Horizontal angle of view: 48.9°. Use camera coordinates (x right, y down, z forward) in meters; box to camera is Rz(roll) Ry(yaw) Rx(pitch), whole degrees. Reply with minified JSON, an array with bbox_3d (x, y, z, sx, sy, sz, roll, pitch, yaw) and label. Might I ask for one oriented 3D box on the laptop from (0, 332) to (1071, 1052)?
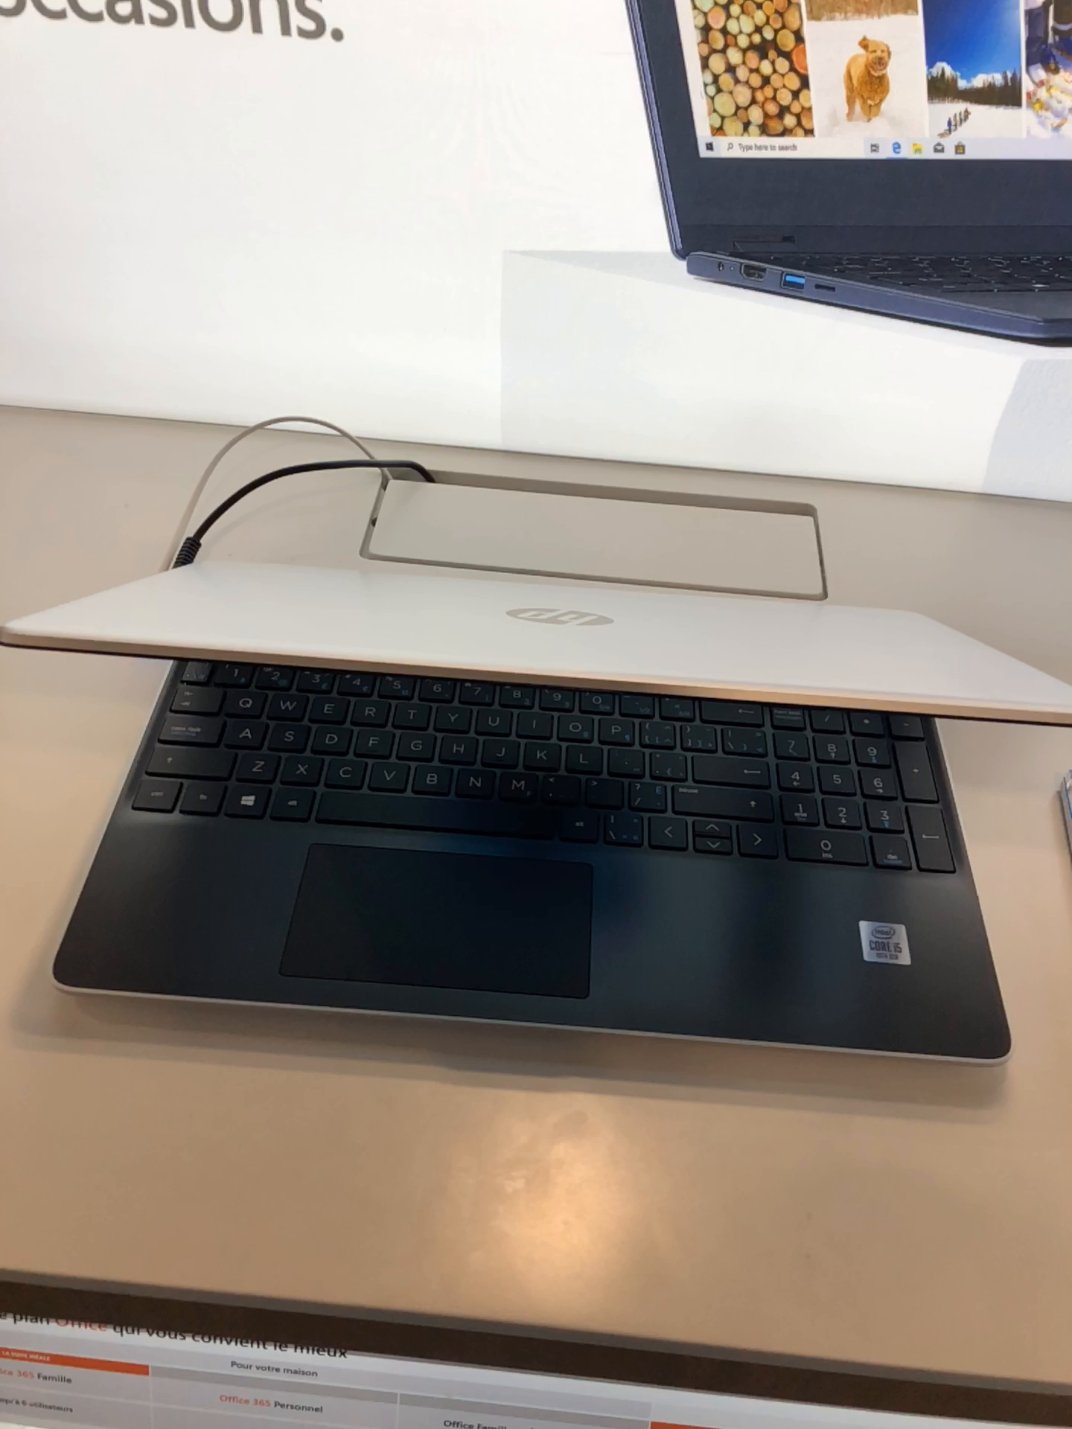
[{"bbox_3d":[0.014,-0.020,0.461,0.345,0.131,0.230,4,46,1],"label":"laptop"}]
